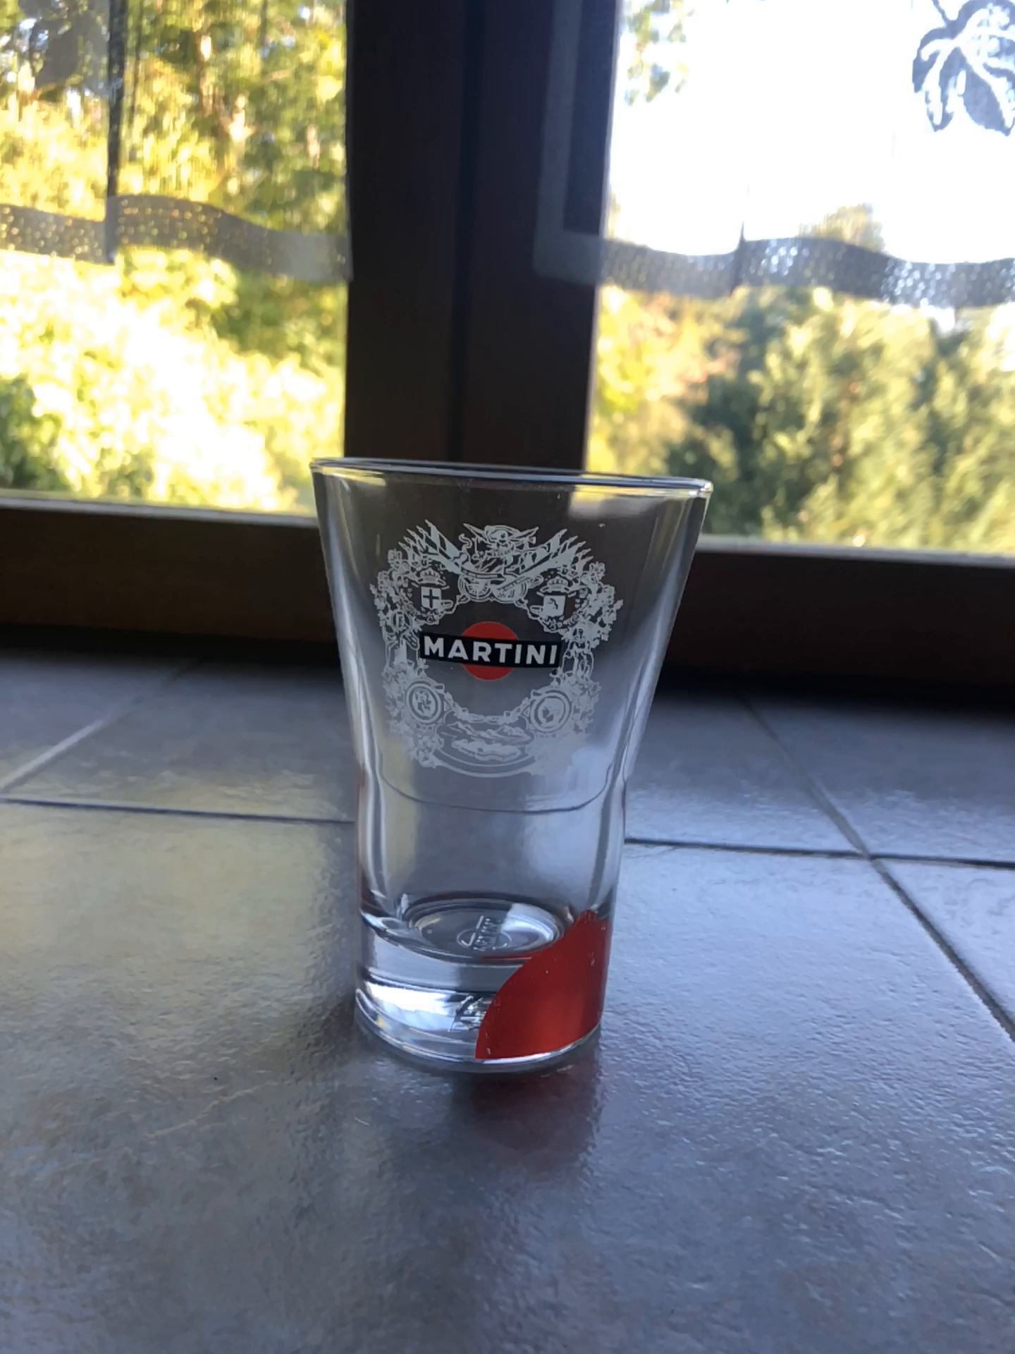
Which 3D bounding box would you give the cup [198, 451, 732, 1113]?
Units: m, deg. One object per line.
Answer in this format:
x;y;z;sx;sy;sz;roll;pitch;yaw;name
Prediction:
-0.005;0.013;0.255;0.095;0.116;0.092;3;13;-1;cup
